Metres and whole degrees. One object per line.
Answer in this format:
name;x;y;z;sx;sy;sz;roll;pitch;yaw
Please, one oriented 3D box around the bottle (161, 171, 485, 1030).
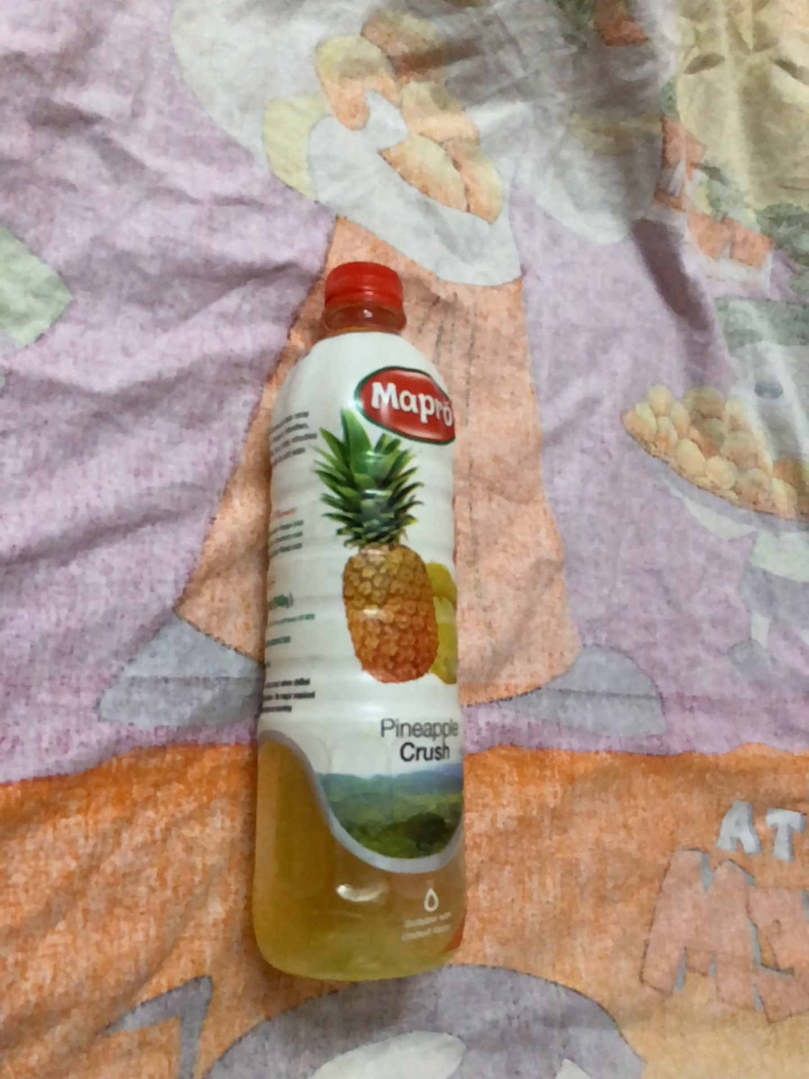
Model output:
bottle;-0.024;0.016;0.306;0.080;0.060;0.250;10;77;-40
